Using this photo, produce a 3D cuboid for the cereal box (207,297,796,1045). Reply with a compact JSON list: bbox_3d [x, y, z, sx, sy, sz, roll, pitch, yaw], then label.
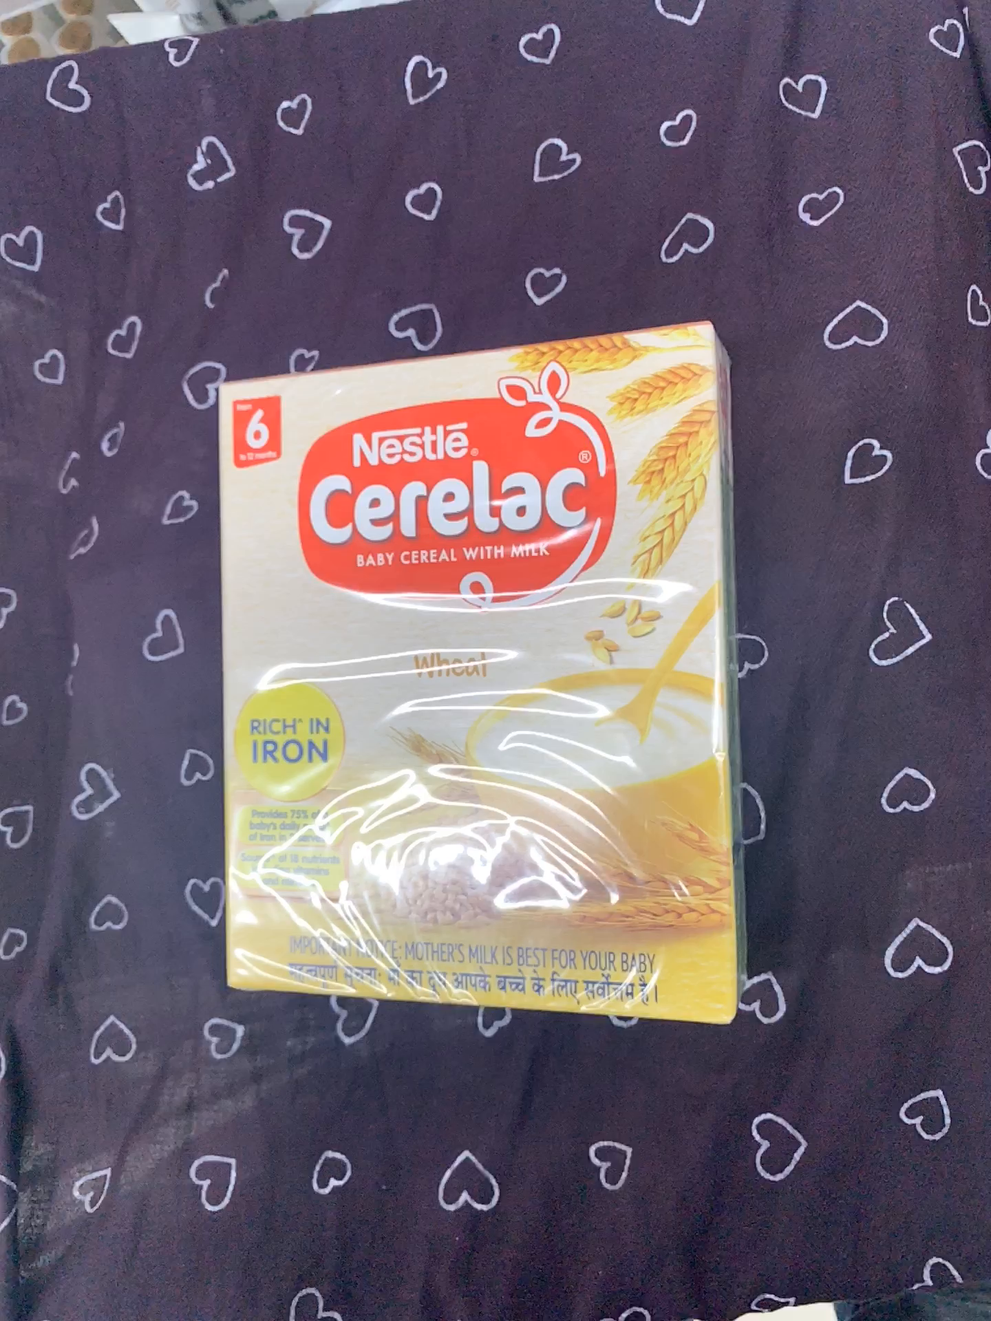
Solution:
[{"bbox_3d":[0.000,0.004,0.260,0.140,0.040,0.160,-2,89,18],"label":"cereal box"}]
